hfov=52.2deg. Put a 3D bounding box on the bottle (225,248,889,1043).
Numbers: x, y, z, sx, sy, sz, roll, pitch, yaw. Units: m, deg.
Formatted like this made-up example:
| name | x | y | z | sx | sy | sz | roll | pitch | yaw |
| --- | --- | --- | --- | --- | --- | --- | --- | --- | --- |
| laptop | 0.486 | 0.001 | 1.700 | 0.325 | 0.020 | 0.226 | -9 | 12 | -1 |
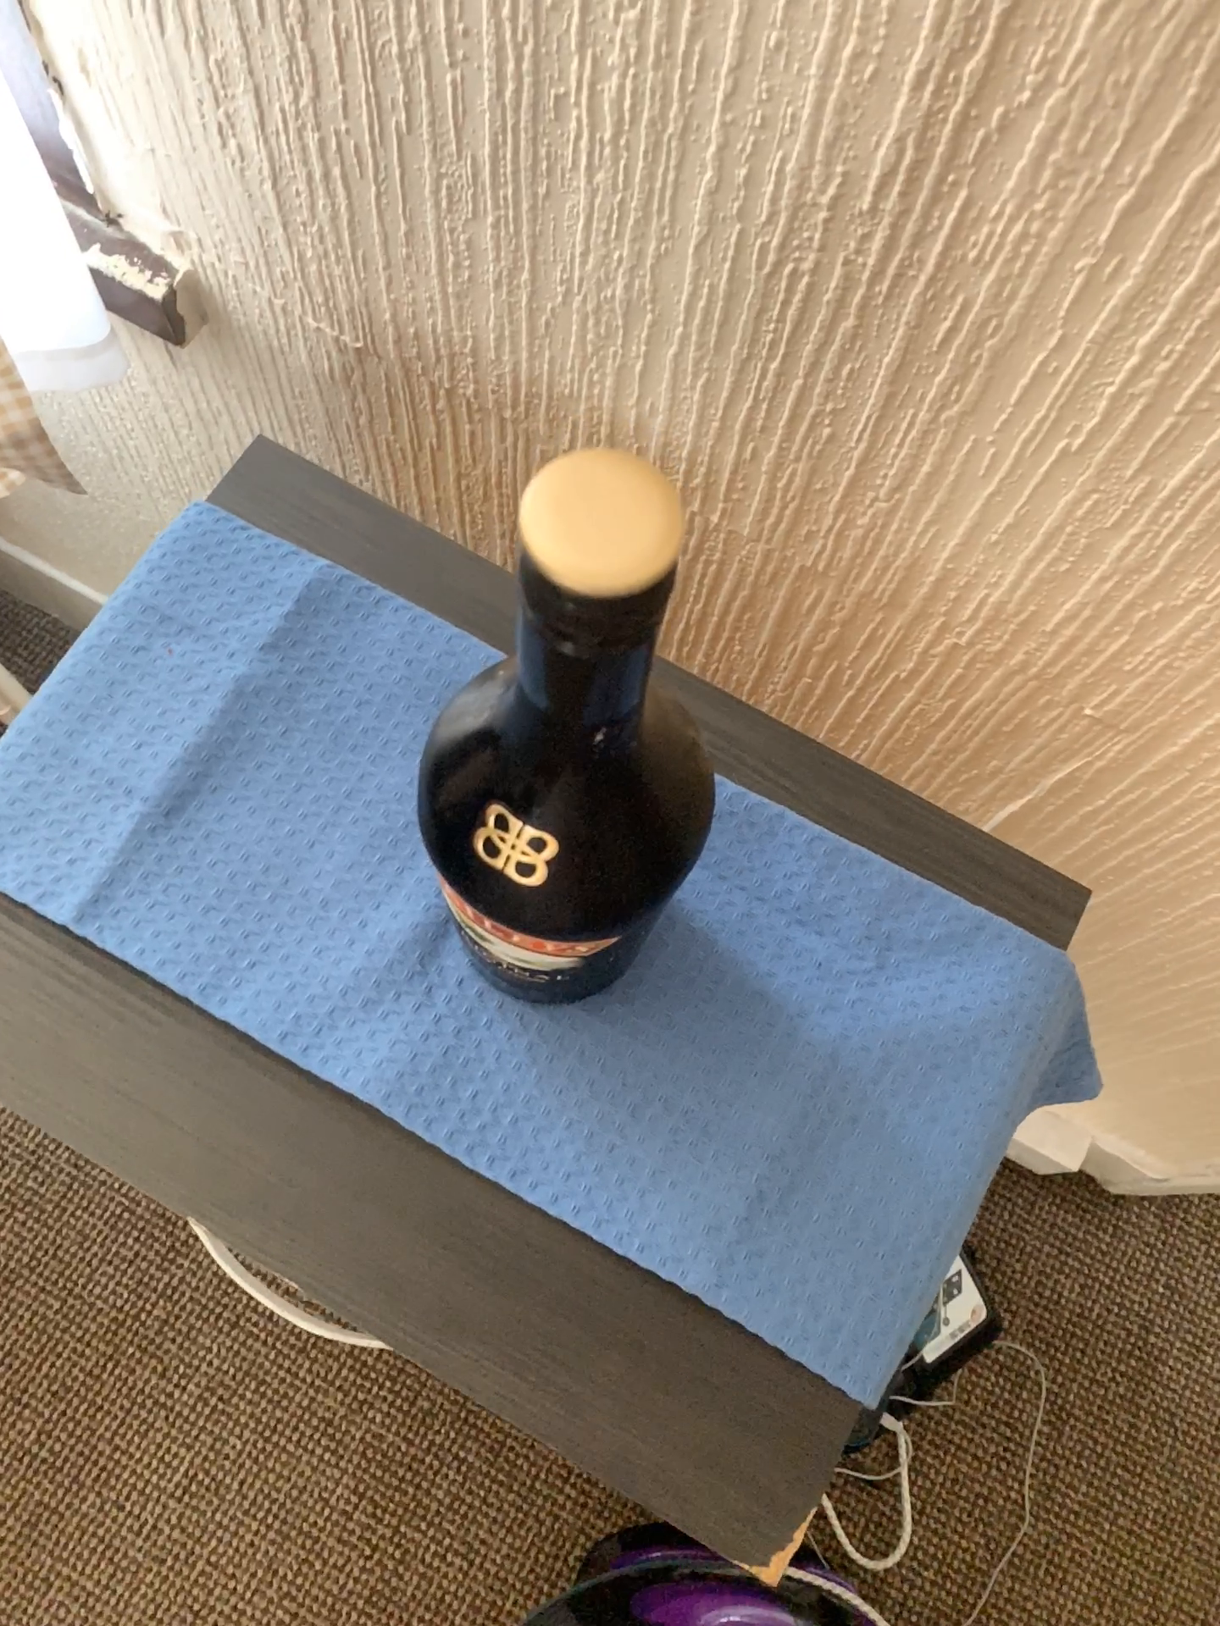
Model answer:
| name | x | y | z | sx | sy | sz | roll | pitch | yaw |
| --- | --- | --- | --- | --- | --- | --- | --- | --- | --- |
| bottle | -0.017 | -0.008 | 0.349 | 0.090 | 0.289 | 0.070 | 29 | 72 | 6 |
